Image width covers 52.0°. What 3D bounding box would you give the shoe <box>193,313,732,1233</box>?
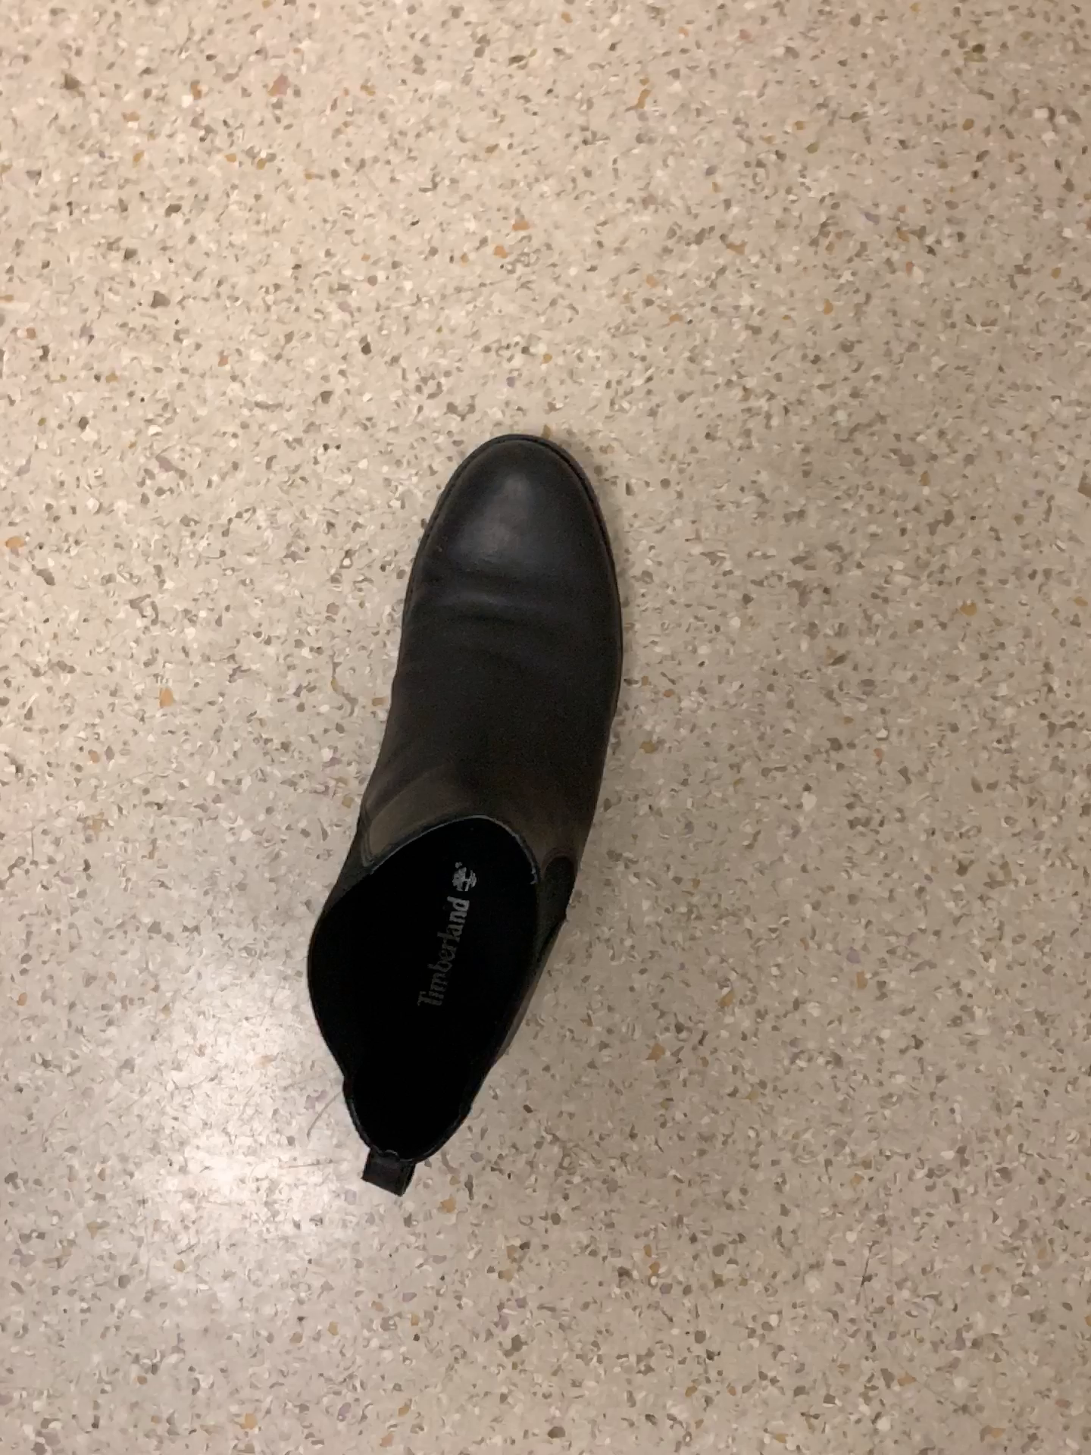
[{"bbox_3d":[-0.026,0.015,0.422,0.107,0.164,0.262,13,86,-1],"label":"shoe"}]
